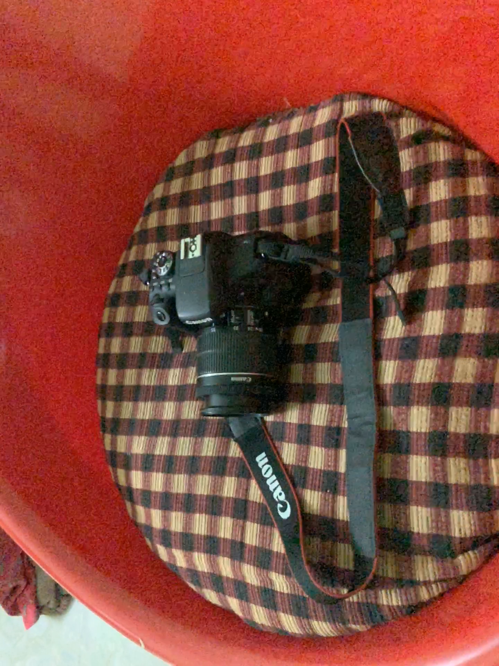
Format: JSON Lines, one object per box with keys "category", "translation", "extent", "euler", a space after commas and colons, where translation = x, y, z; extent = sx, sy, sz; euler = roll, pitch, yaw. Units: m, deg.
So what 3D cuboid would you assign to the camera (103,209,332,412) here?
{"category": "camera", "translation": [-0.024, -0.003, 0.432], "extent": [0.140, 0.129, 0.138], "euler": [-6, 80, 35]}
